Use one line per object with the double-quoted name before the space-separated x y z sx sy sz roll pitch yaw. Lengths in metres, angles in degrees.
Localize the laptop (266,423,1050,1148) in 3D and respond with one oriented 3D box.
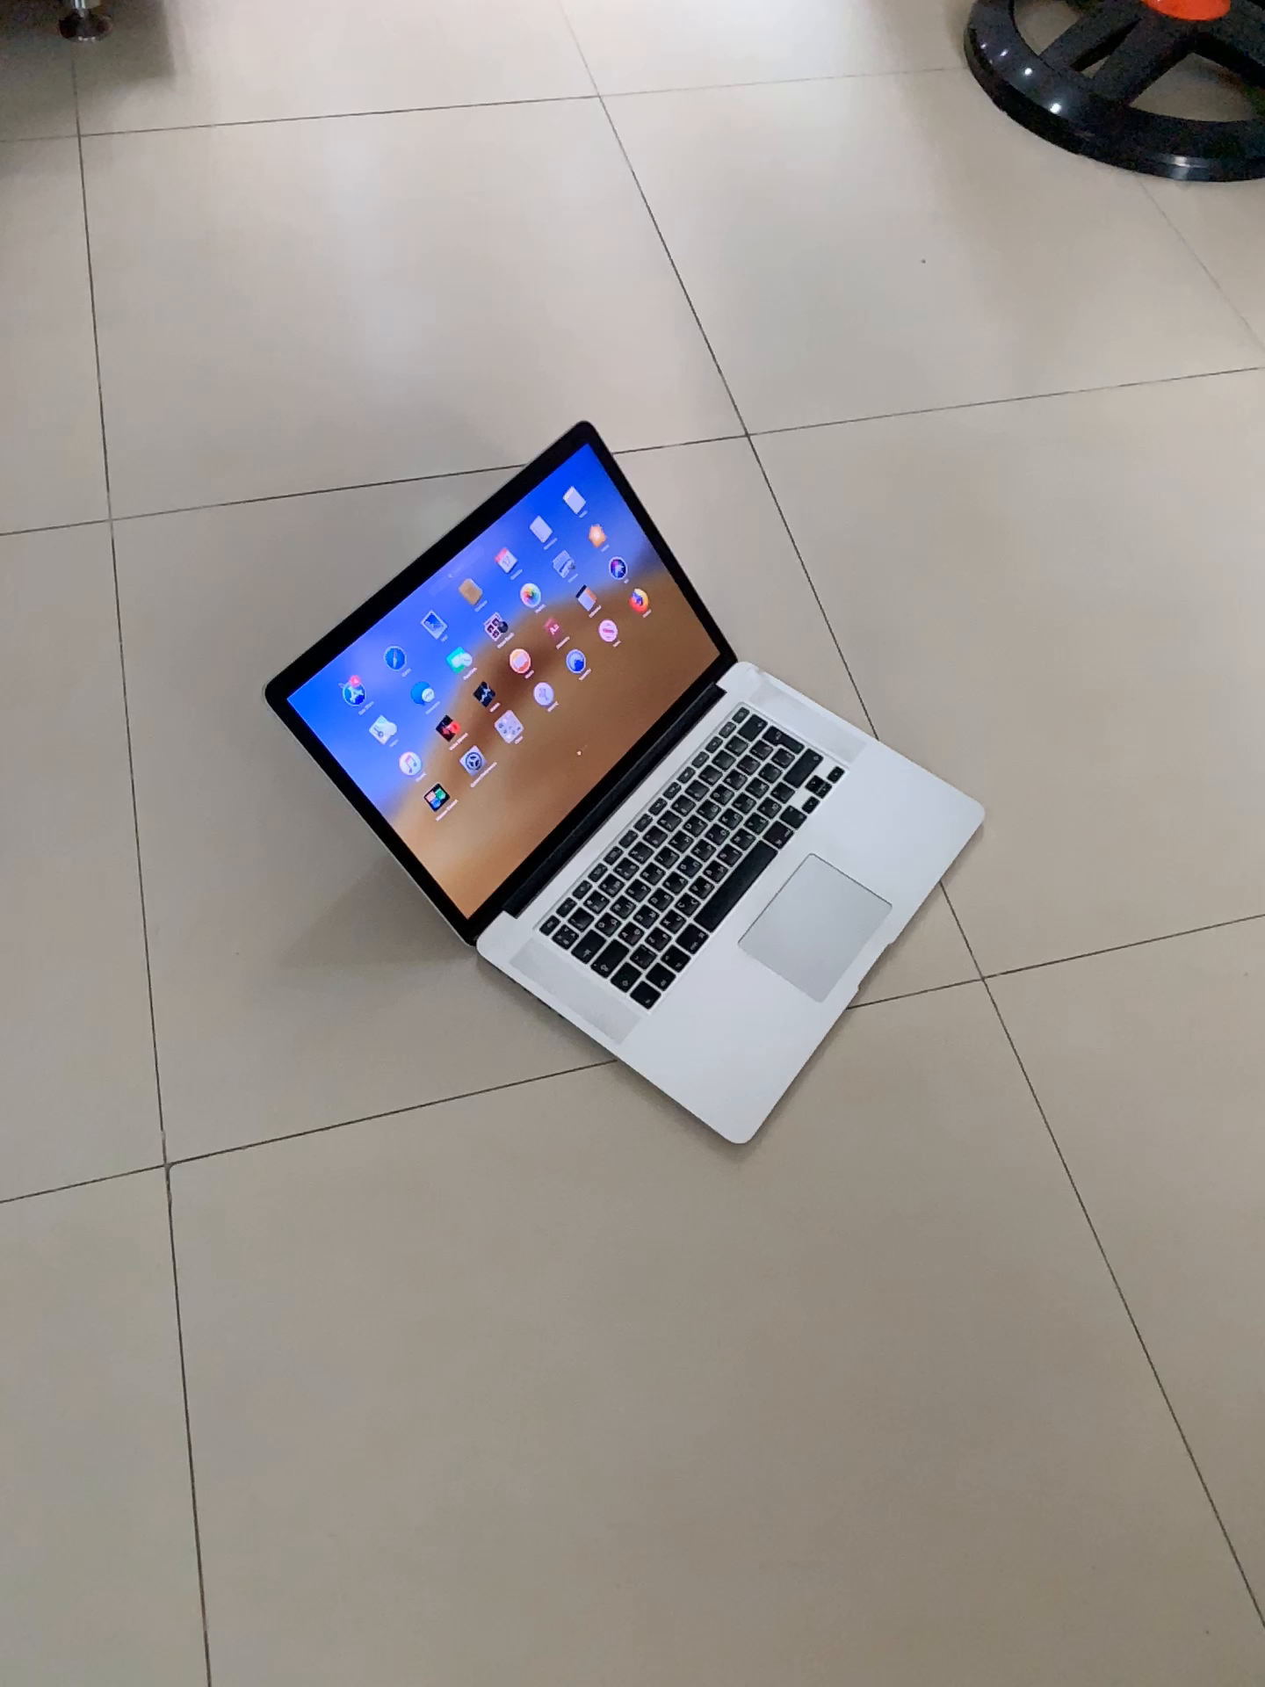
"laptop" 0.020 -0.062 0.953 0.415 0.162 0.353 33 61 16
